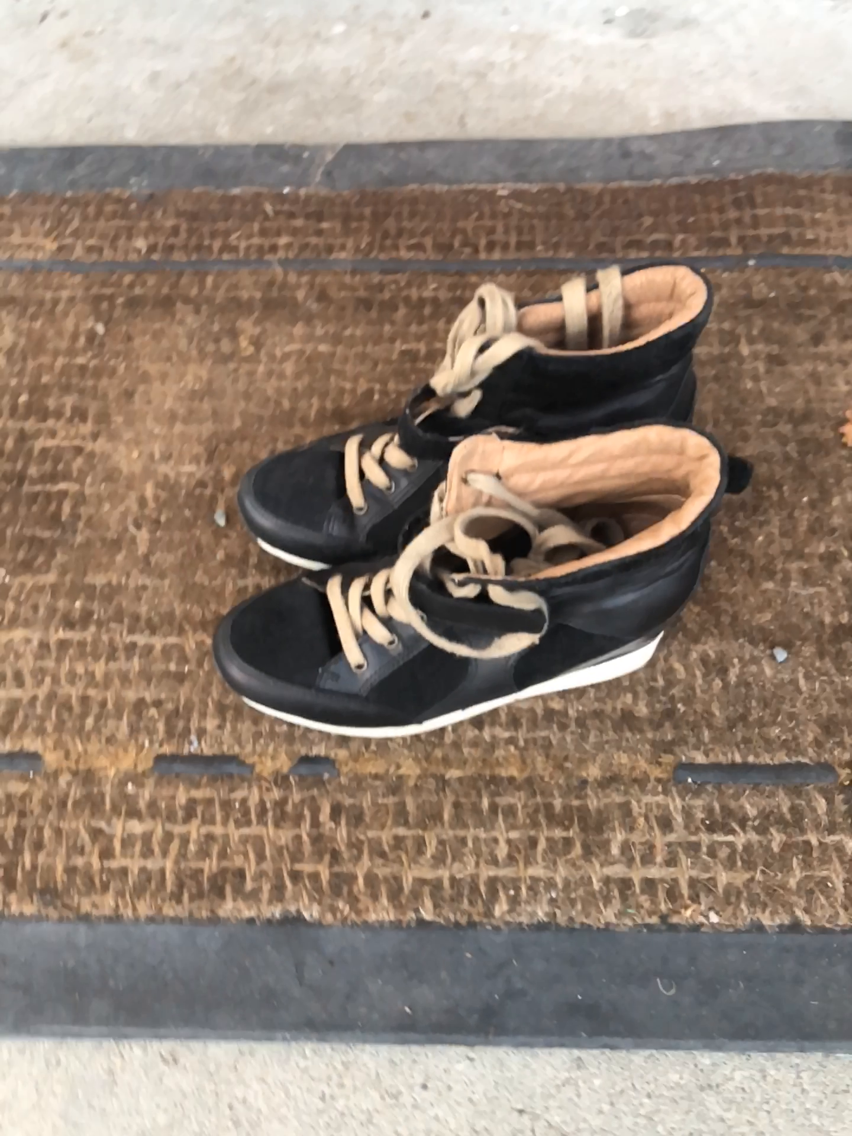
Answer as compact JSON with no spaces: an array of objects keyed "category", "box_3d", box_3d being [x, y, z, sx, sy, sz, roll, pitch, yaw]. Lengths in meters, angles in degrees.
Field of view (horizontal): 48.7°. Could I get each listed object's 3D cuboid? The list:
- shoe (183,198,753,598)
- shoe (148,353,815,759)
[{"category":"shoe","box_3d":[0.016,-0.074,0.469,0.230,0.159,0.090,-7,62,-1]},{"category":"shoe","box_3d":[0.019,0.005,0.428,0.240,0.159,0.090,-7,62,-1]}]
